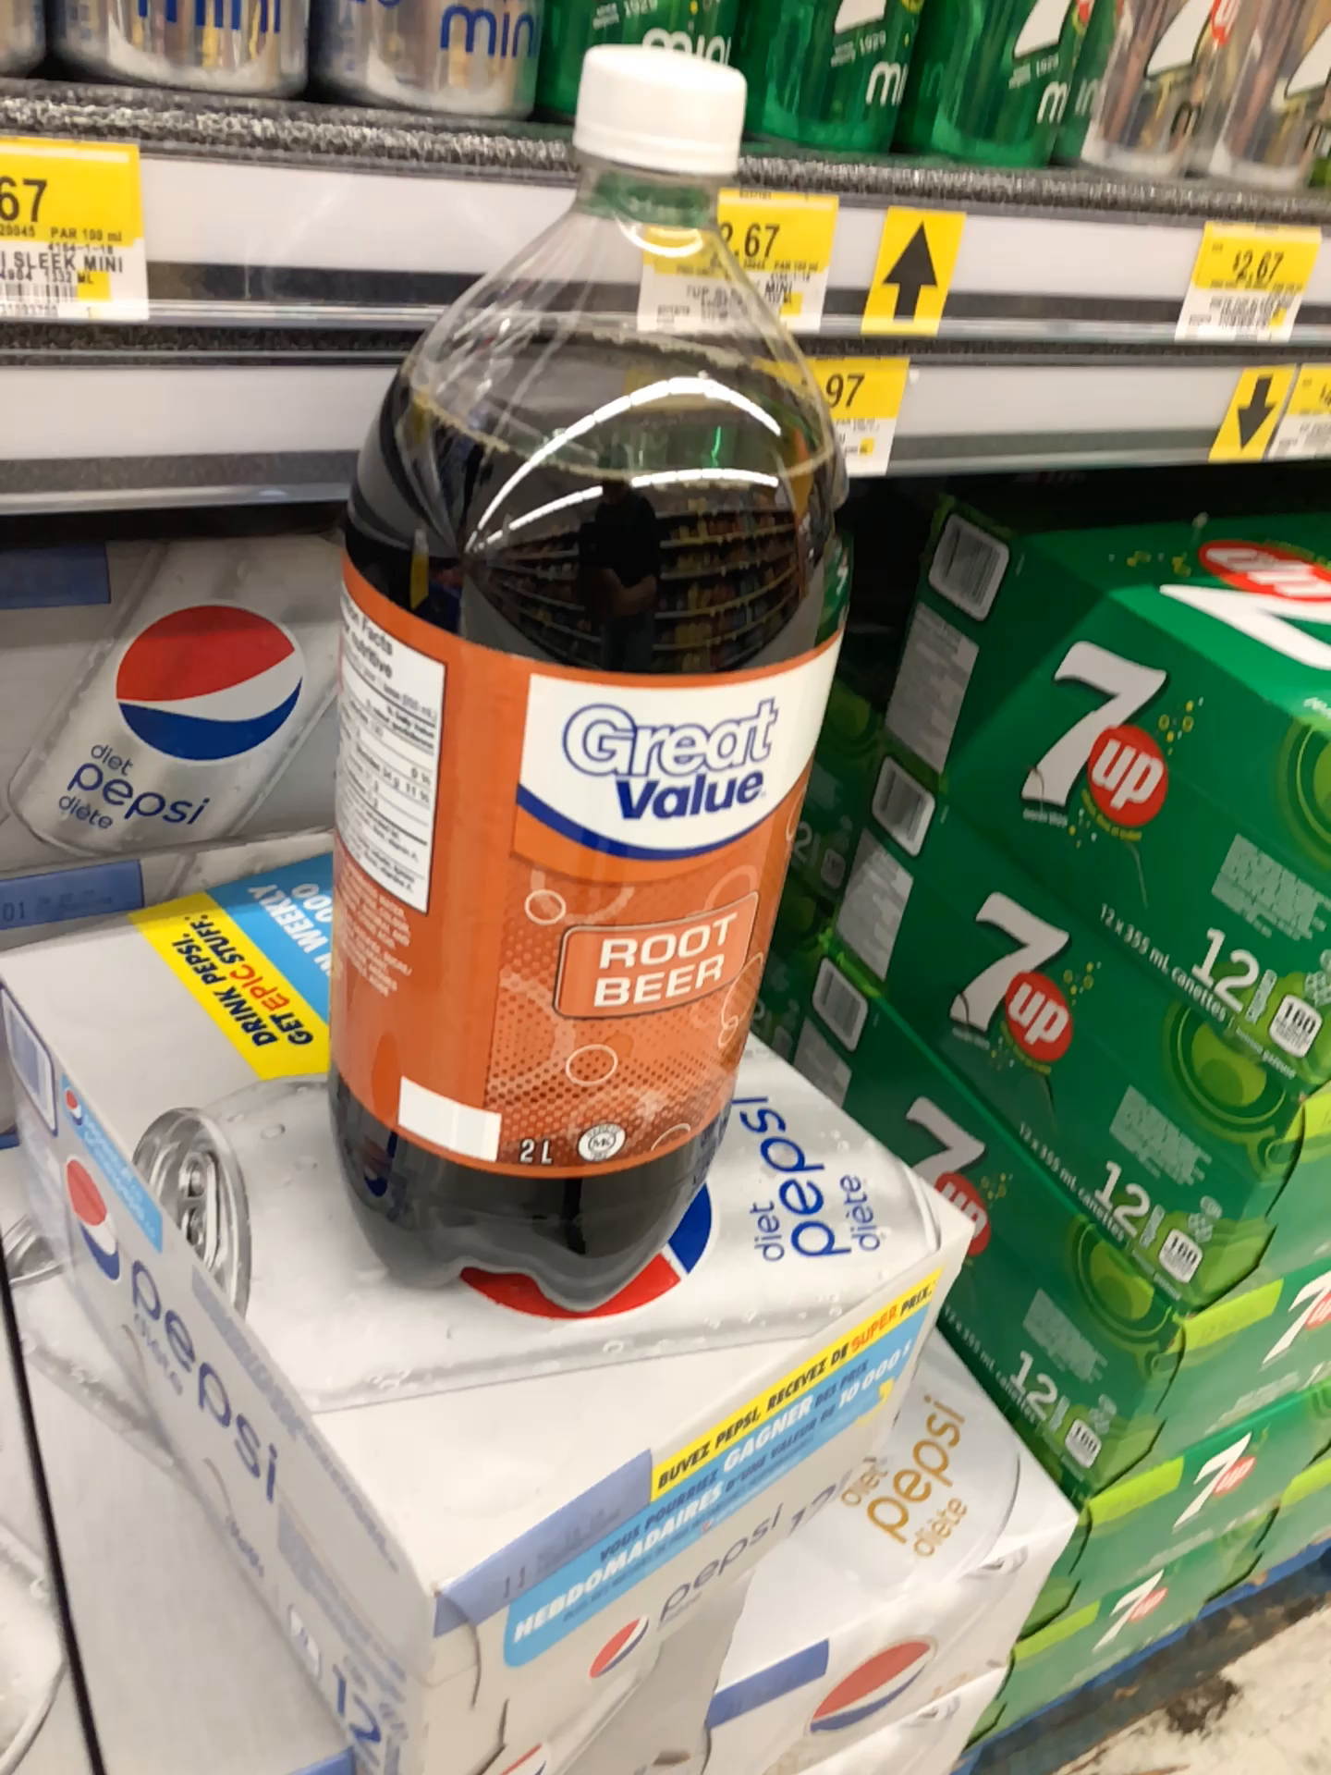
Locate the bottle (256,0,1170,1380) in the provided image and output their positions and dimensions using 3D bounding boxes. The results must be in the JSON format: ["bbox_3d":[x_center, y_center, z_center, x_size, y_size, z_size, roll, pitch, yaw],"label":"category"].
[{"bbox_3d":[-0.018,-0.037,0.331,0.120,0.268,0.121,7,35,-5],"label":"bottle"}]
